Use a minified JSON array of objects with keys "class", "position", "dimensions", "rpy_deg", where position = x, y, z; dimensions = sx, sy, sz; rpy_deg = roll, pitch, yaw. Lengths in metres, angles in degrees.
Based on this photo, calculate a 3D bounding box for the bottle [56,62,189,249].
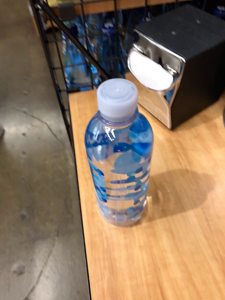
[{"class":"bottle","position":[0.012,0.024,0.260],"dimensions":[0.070,0.200,0.070],"rpy_deg":[-1,53,2]}]
